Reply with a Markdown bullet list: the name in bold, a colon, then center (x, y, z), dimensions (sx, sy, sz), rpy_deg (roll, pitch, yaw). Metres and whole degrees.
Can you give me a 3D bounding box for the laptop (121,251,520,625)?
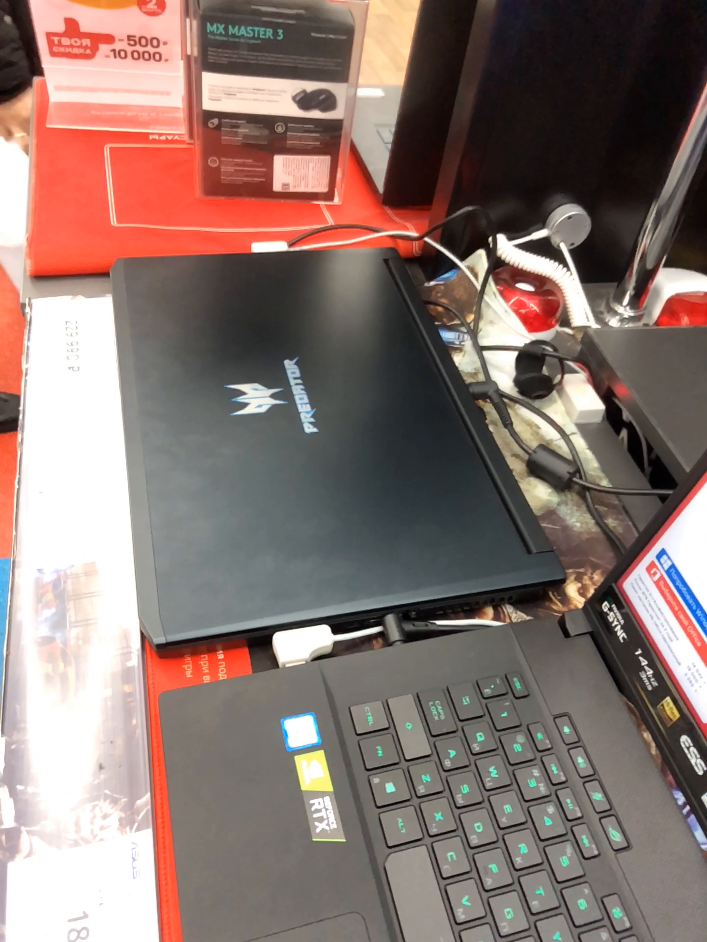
- **laptop**: center (-0.047, -0.058, 0.575), dimensions (0.221, 0.006, 0.355), rpy_deg (-7, 49, -14)
